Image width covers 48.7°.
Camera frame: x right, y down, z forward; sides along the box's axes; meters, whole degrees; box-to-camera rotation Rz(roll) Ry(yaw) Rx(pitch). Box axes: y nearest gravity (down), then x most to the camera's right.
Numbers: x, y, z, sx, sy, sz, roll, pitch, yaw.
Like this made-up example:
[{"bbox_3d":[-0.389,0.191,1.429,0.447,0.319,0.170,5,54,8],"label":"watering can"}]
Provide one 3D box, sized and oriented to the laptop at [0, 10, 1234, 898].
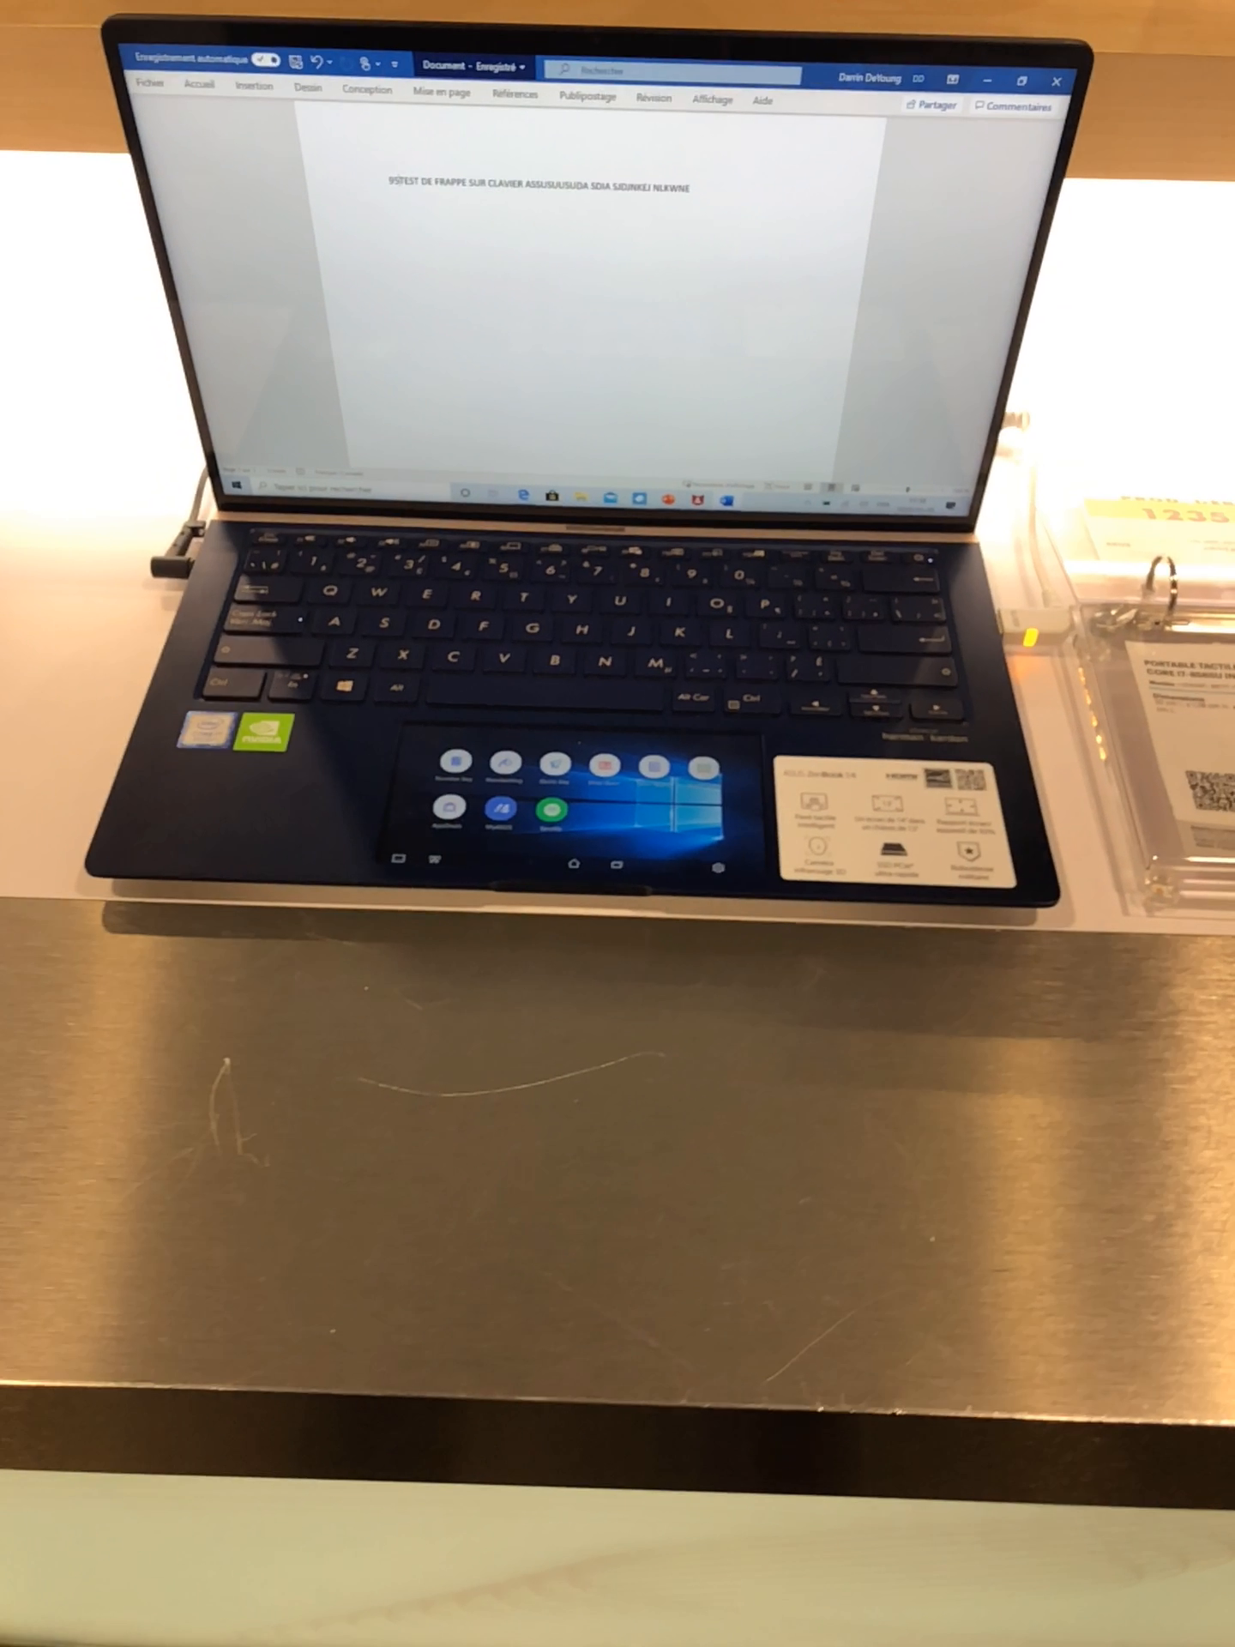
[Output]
[{"bbox_3d":[-0.011,-0.117,0.435,0.317,0.193,0.200,2,48,1],"label":"laptop"}]
